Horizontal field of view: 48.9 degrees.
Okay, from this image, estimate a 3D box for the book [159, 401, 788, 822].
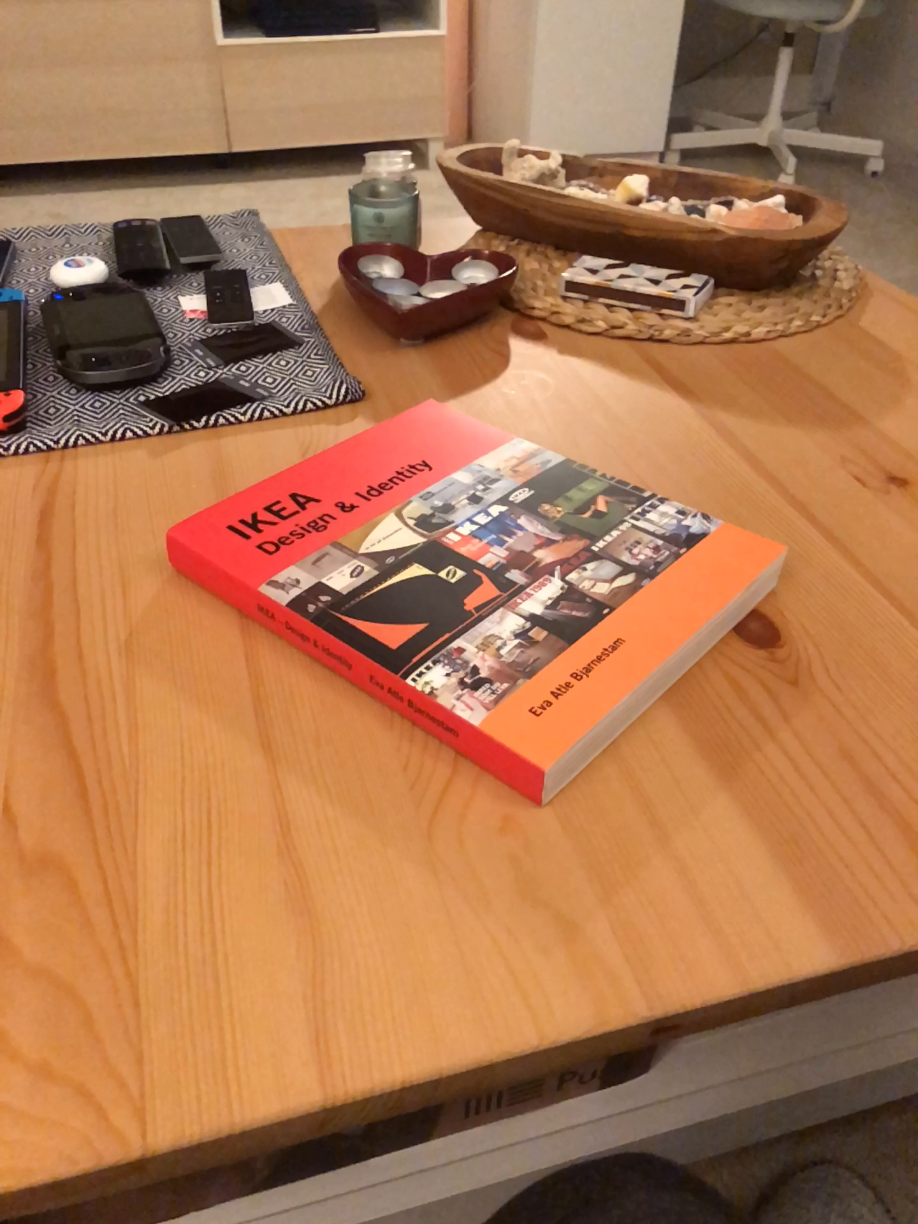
[{"bbox_3d":[0.008,-0.026,0.544,0.255,0.030,0.217,28,45,30],"label":"book"}]
